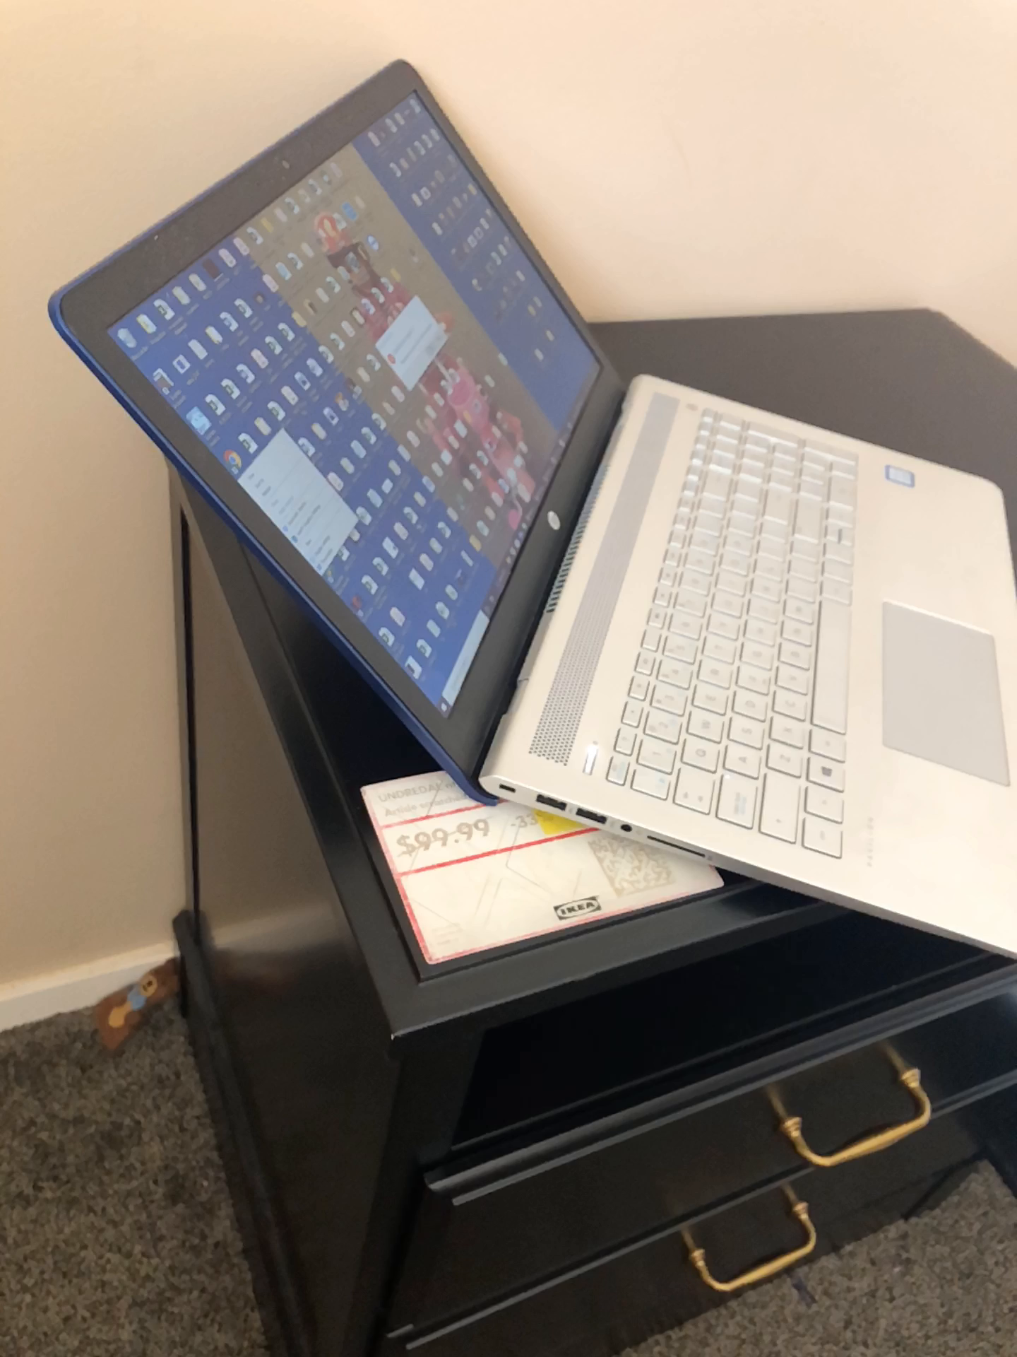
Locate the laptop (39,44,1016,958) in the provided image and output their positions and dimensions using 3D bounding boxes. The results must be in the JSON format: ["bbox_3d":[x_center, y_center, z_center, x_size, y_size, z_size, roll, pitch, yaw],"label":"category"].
[{"bbox_3d":[0.075,-0.124,0.524,0.400,0.141,0.368,18,42,3],"label":"laptop"}]
